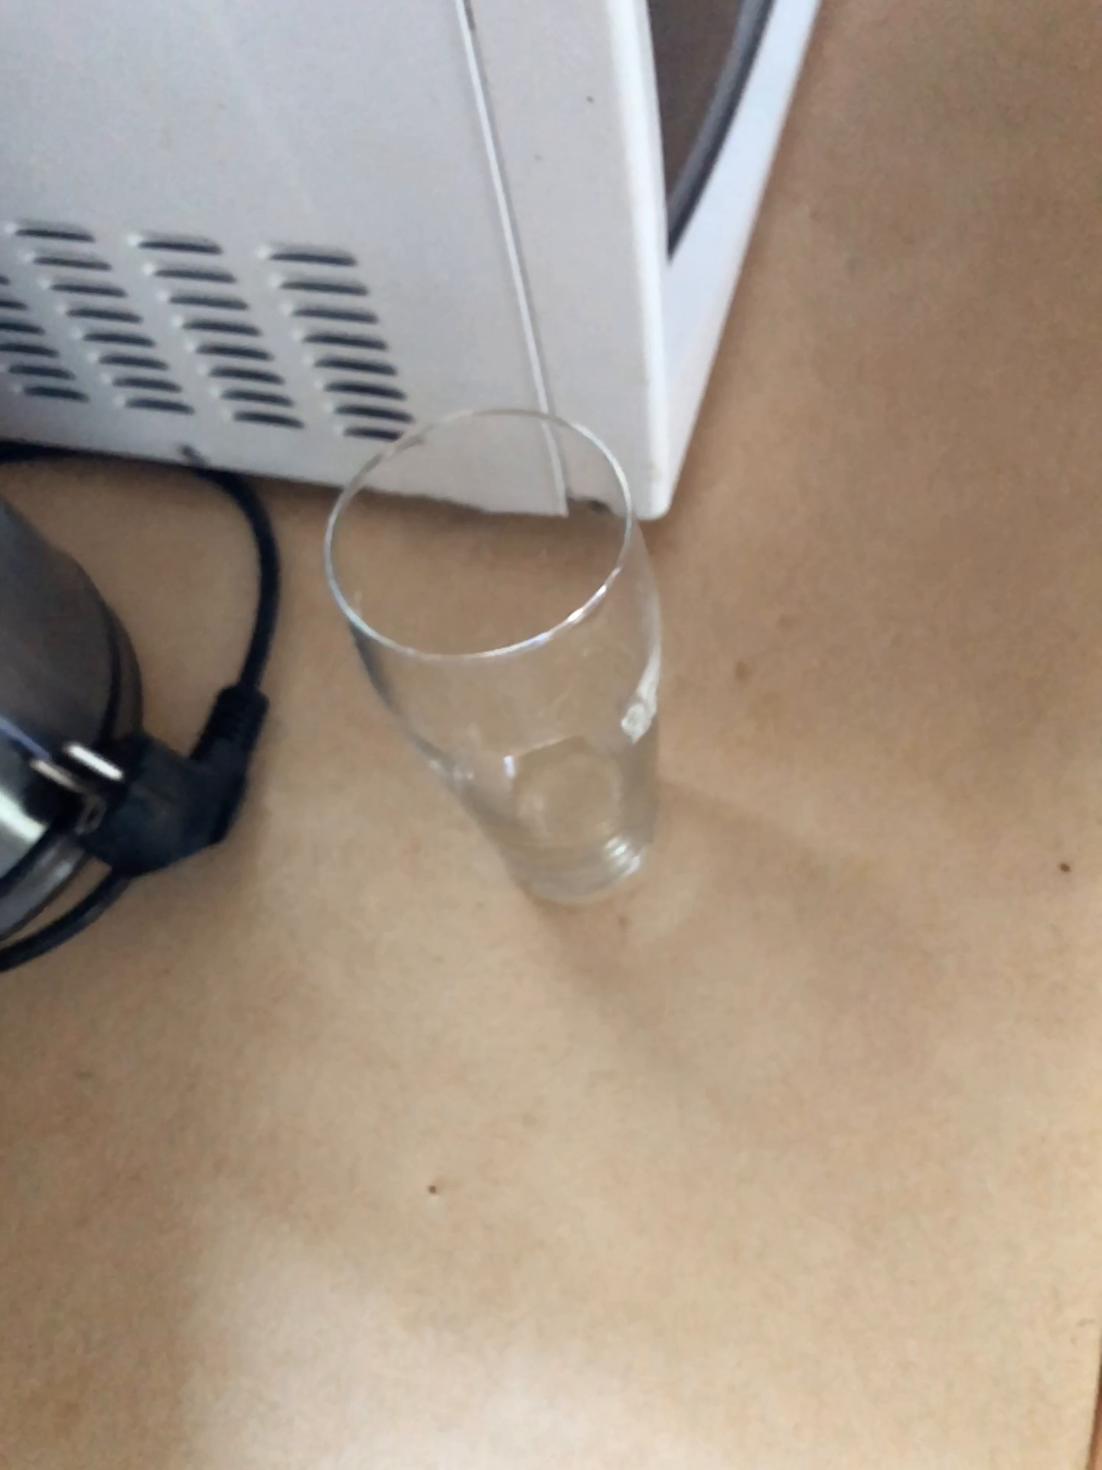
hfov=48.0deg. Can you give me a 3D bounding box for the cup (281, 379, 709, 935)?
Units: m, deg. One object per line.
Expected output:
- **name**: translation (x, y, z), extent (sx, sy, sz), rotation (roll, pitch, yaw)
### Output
- **cup**: translation (-0.002, -0.010, 0.293), extent (0.070, 0.130, 0.070), rotation (-4, 61, 8)
